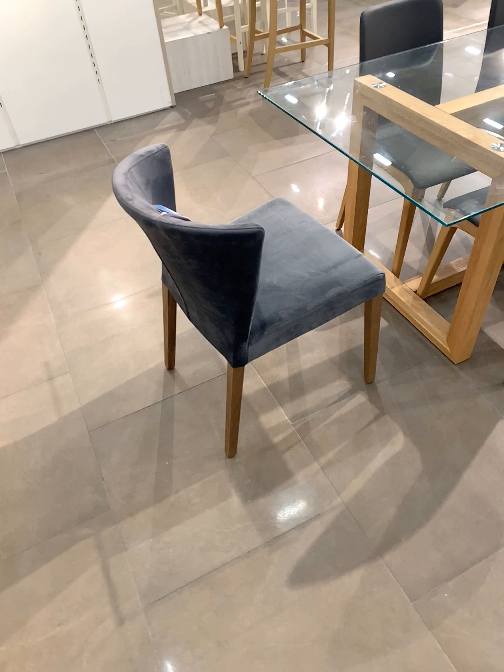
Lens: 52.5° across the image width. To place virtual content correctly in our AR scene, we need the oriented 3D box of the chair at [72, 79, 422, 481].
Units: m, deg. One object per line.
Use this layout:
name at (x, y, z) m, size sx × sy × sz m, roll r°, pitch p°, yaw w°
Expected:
chair at (-0.014, -0.159, 1.466) m, size 0.614 × 0.805 × 0.582 m, roll -23°, pitch 47°, yaw -17°
